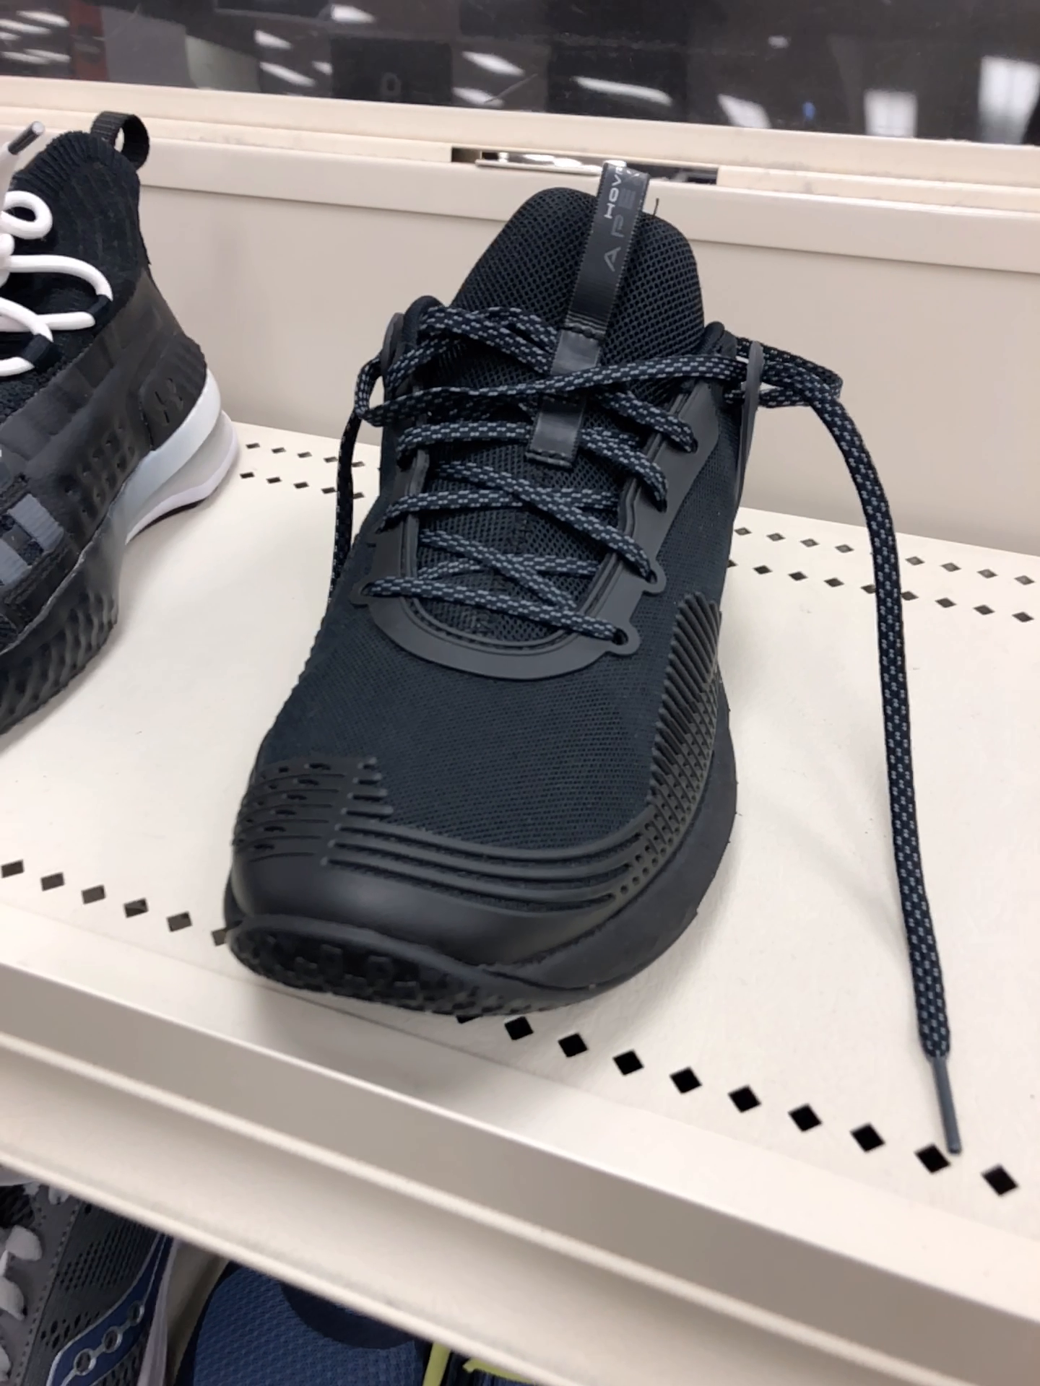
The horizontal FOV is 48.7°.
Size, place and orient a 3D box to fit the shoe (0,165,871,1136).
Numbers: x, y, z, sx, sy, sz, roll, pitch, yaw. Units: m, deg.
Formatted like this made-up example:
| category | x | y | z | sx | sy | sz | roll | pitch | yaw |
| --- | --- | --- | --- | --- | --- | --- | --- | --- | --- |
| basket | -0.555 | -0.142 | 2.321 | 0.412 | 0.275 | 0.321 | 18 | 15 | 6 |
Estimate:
| category | x | y | z | sx | sy | sz | roll | pitch | yaw |
| --- | --- | --- | --- | --- | --- | --- | --- | --- | --- |
| shoe | 0.023 | -0.068 | 0.341 | 0.120 | 0.129 | 0.353 | 11 | 31 | 14 |
